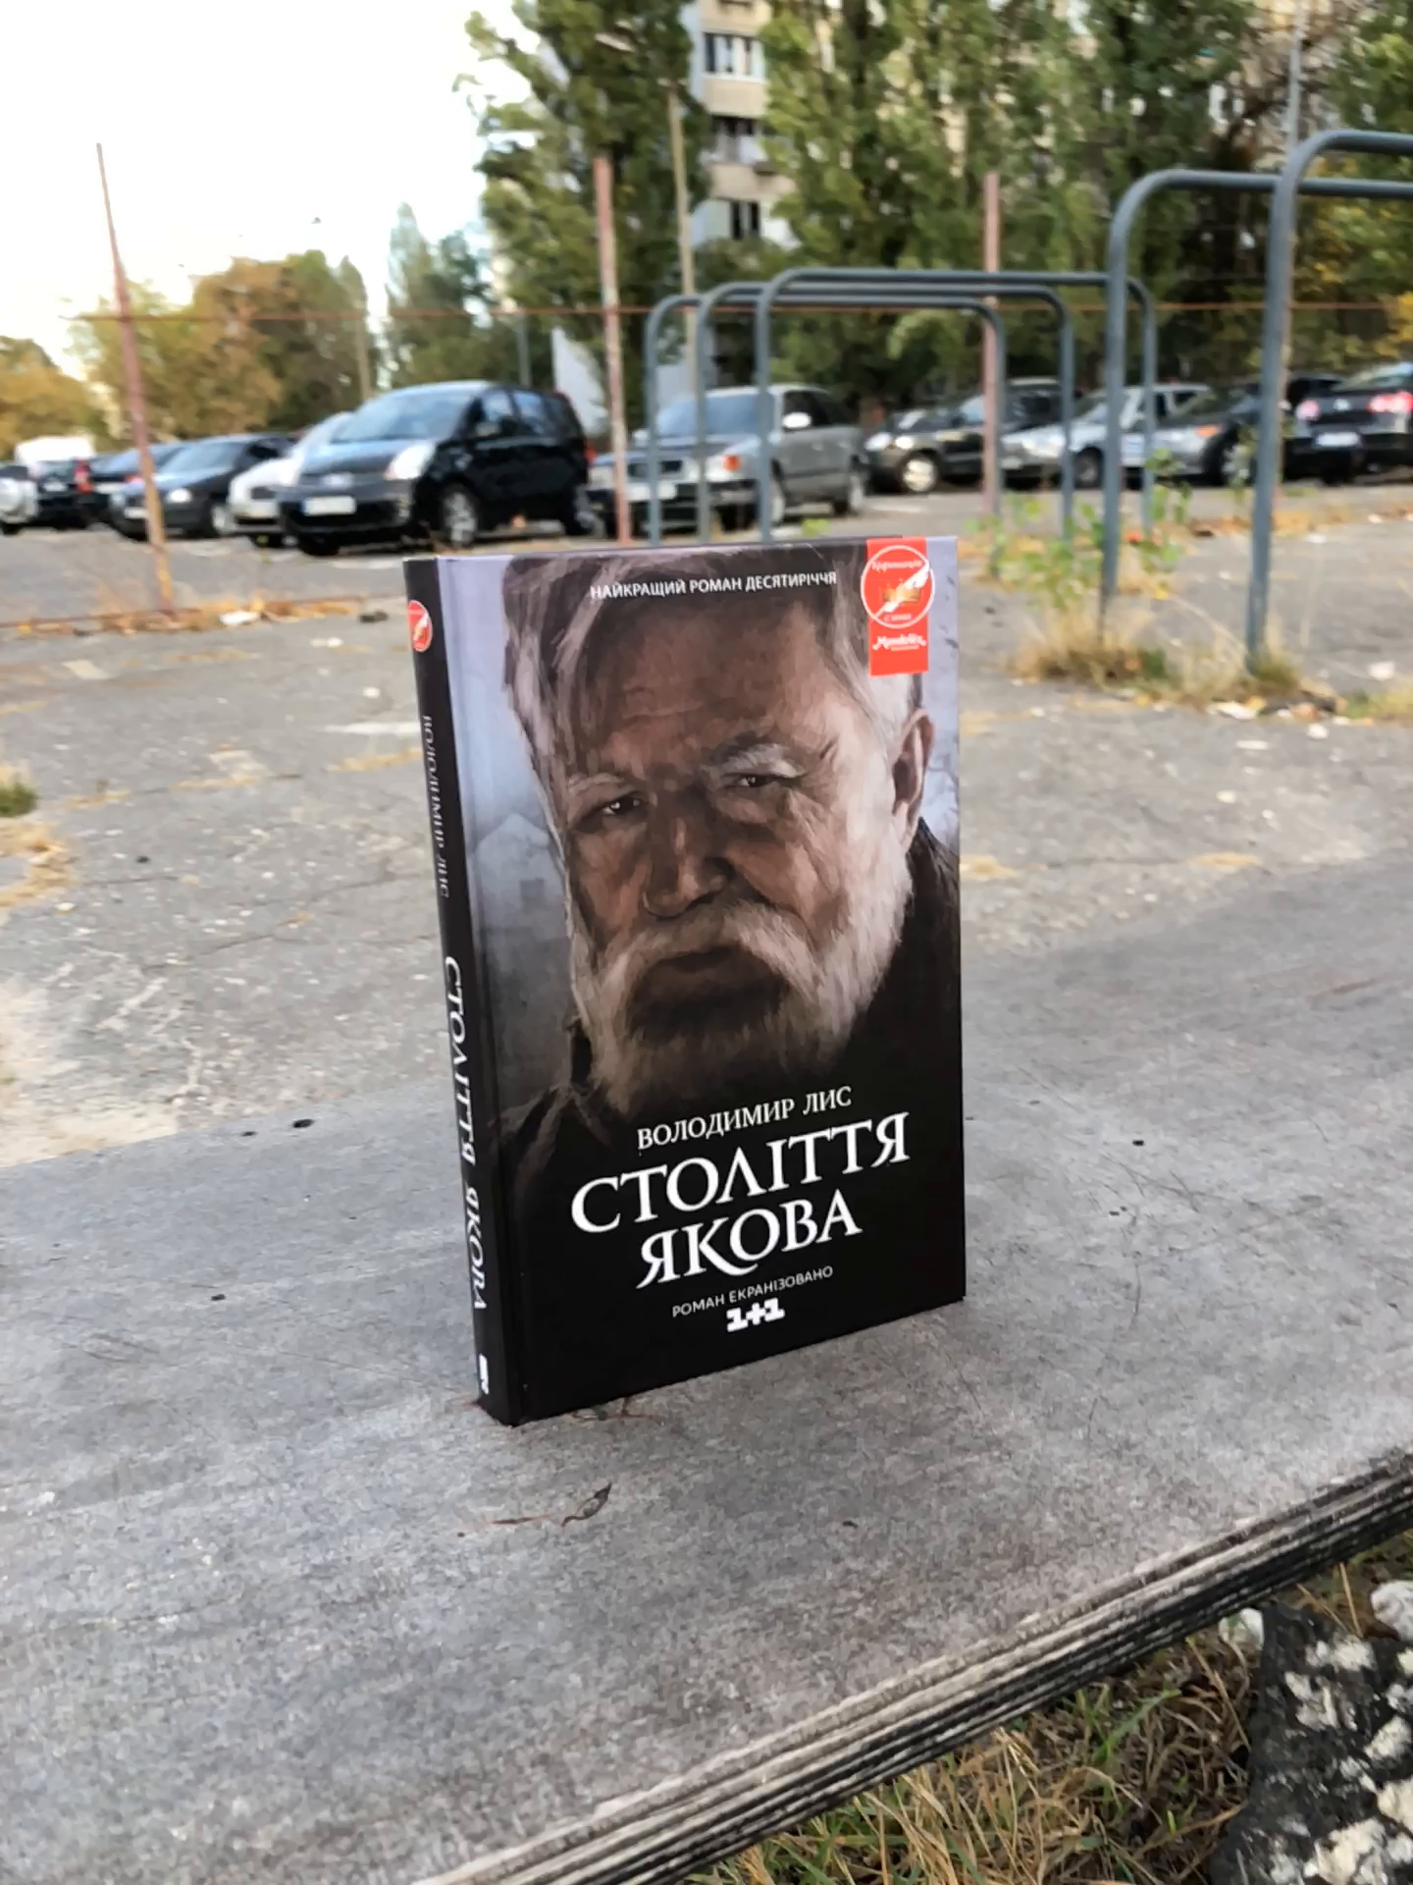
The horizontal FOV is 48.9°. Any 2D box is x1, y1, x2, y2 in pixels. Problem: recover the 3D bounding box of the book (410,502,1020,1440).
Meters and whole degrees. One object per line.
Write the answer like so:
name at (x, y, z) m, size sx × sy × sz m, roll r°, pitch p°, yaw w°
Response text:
book at (0.009, 0.003, 0.391) m, size 0.140 × 0.212 × 0.030 m, roll -9°, pitch 14°, yaw -22°
